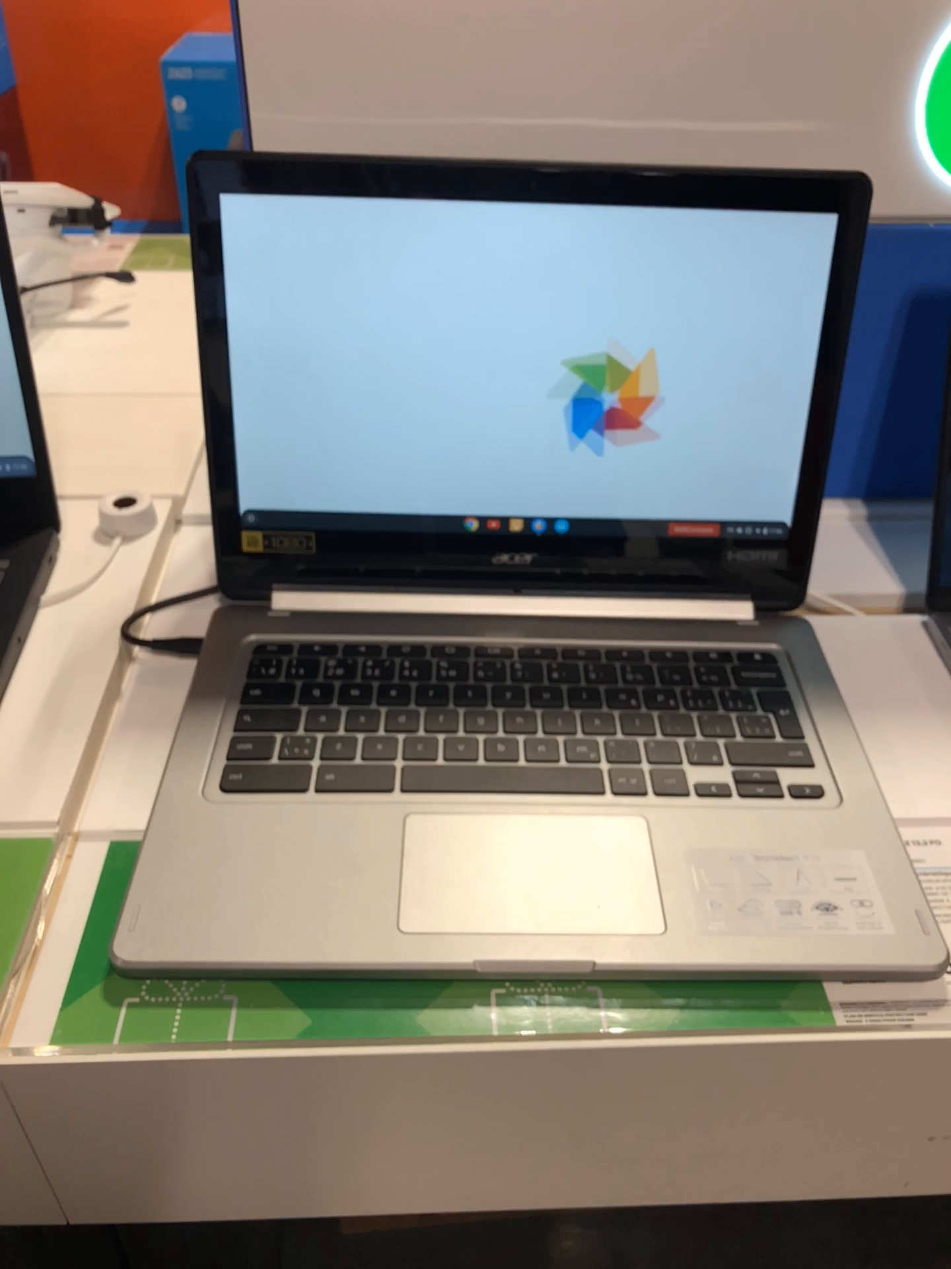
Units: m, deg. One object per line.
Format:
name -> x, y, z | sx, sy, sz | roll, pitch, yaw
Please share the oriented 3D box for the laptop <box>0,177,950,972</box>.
laptop -> 0.022, -0.034, 0.429 | 0.317, 0.226, 0.240 | 1, 36, -1
